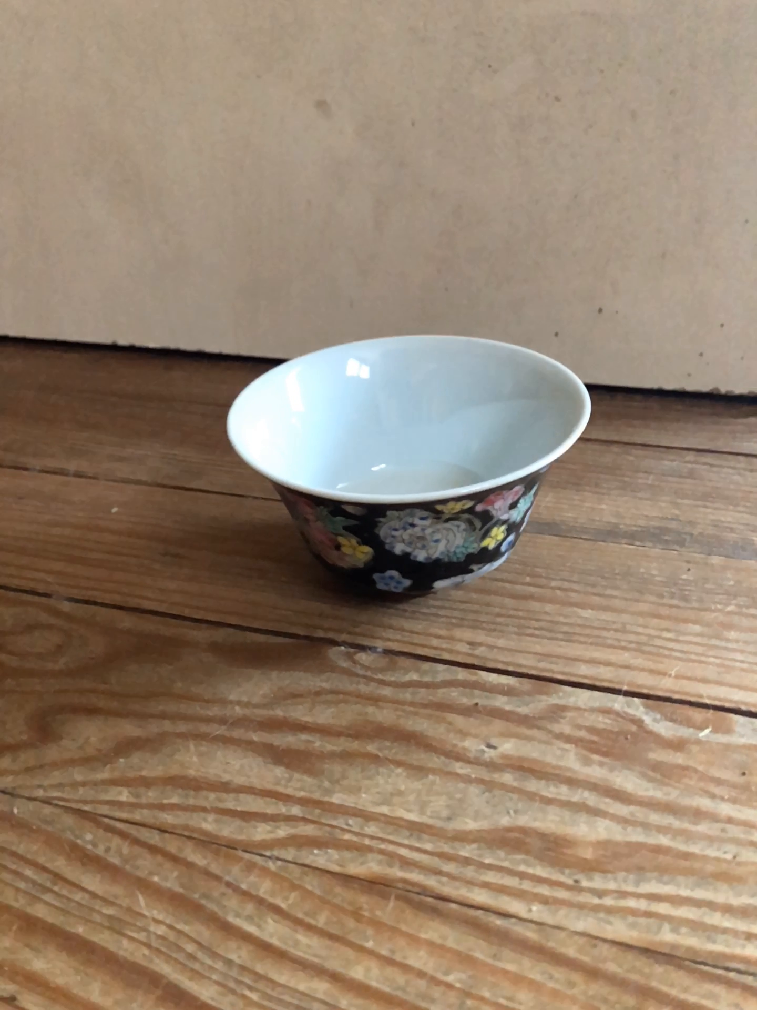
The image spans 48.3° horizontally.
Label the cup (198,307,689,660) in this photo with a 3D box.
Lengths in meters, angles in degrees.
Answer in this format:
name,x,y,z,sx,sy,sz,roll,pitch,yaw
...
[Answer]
name,x,y,z,sx,sy,sz,roll,pitch,yaw
cup,0.013,-0.016,0.255,0.110,0.040,0.100,-2,33,1
